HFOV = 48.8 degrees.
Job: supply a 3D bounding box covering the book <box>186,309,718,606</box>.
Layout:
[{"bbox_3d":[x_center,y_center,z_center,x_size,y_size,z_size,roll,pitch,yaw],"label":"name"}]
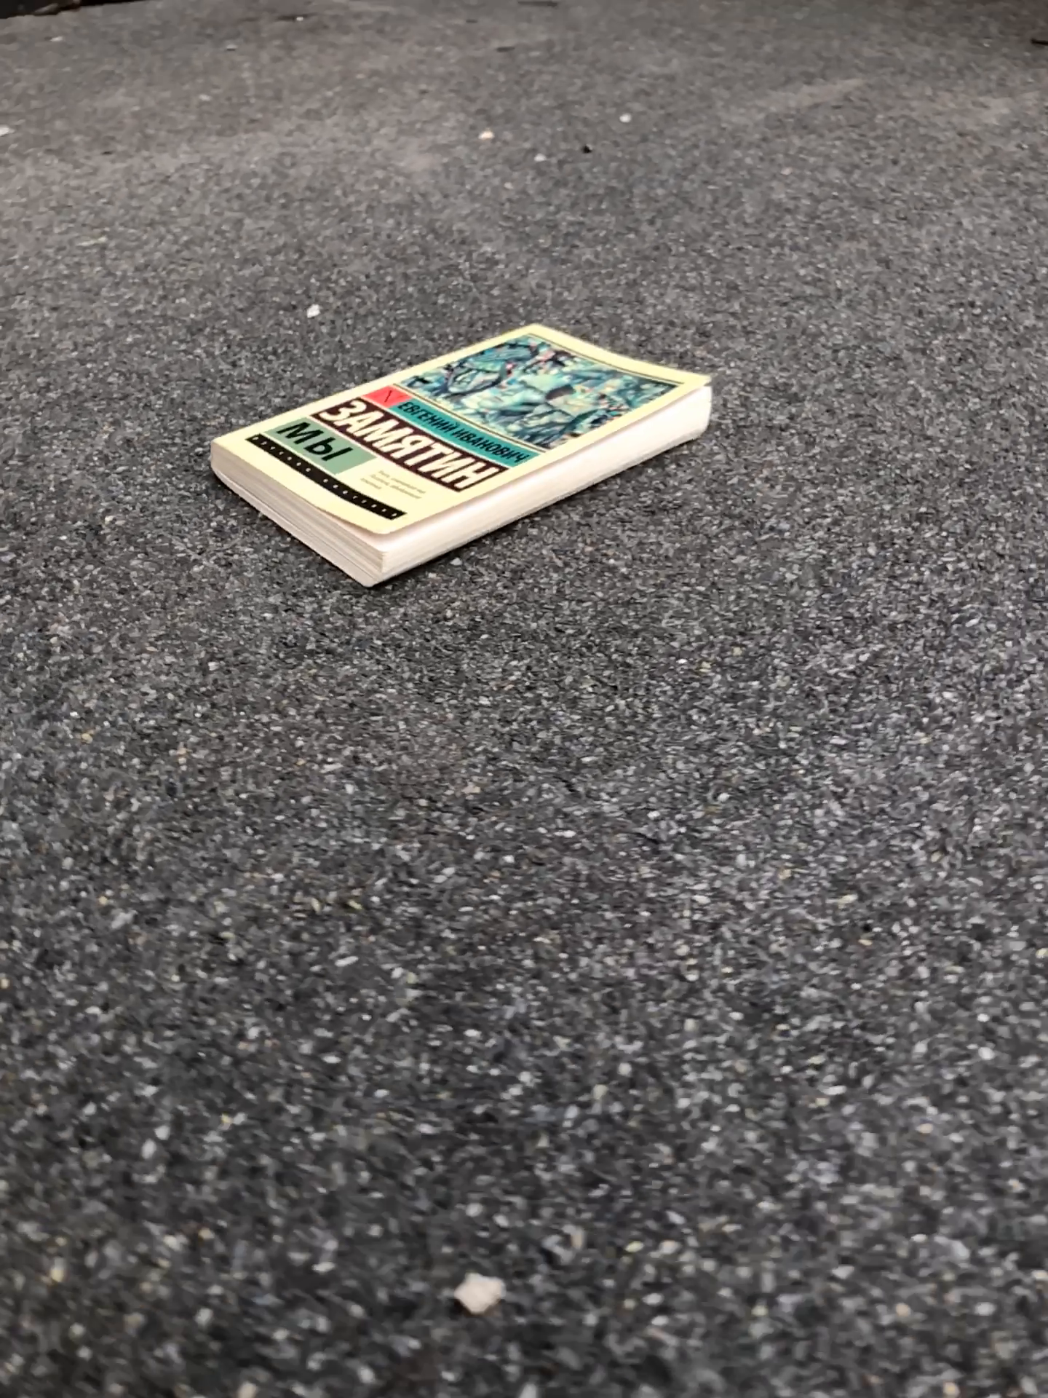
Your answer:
[{"bbox_3d":[-0.026,-0.109,0.476,0.181,0.026,0.120,-31,47,-32],"label":"book"}]
